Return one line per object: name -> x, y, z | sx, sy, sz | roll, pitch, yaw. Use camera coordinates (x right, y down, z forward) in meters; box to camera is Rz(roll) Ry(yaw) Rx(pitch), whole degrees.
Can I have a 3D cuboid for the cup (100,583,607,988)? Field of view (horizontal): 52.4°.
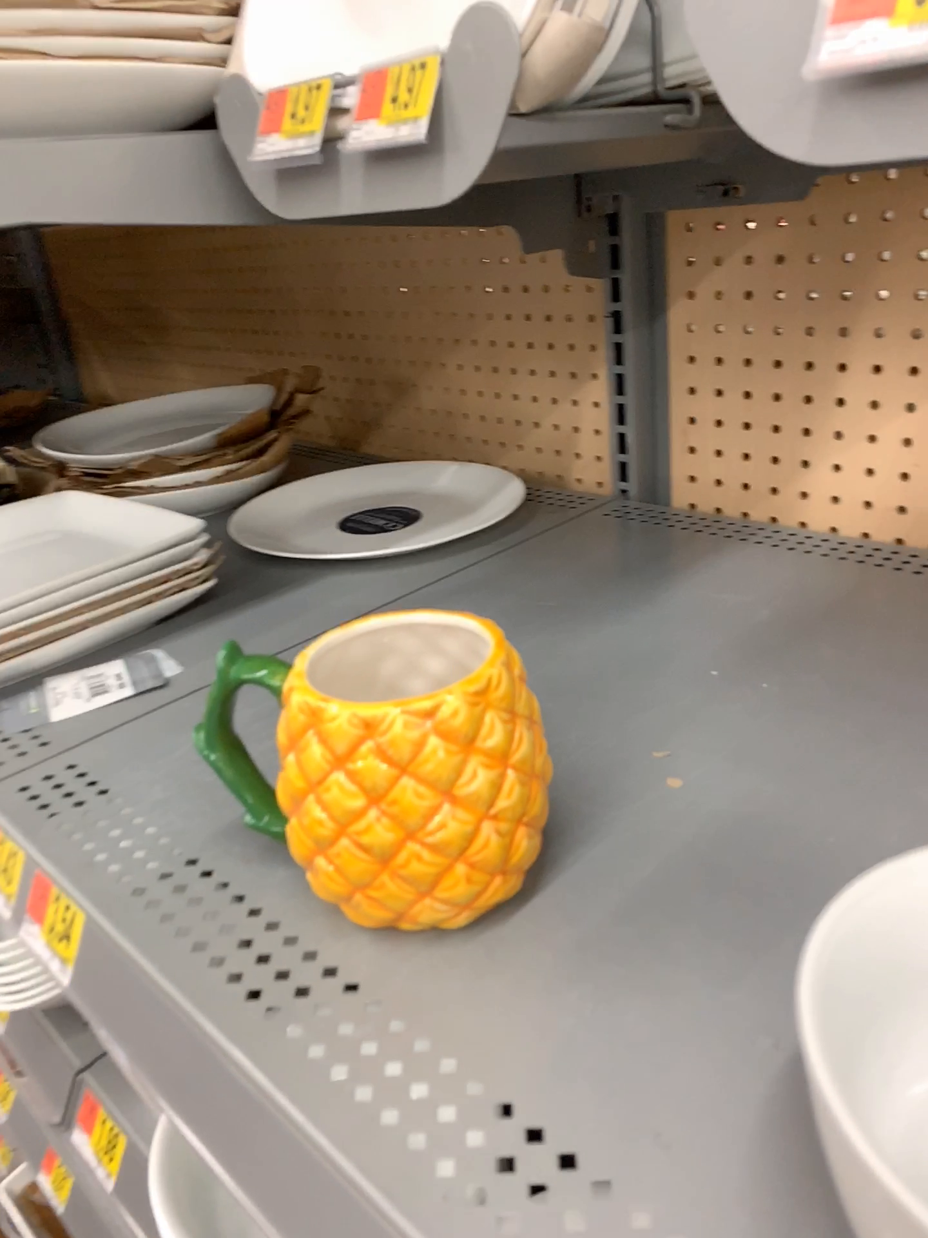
cup -> -0.036, 0.055, 0.376 | 0.160, 0.100, 0.100 | 4, 26, 22
